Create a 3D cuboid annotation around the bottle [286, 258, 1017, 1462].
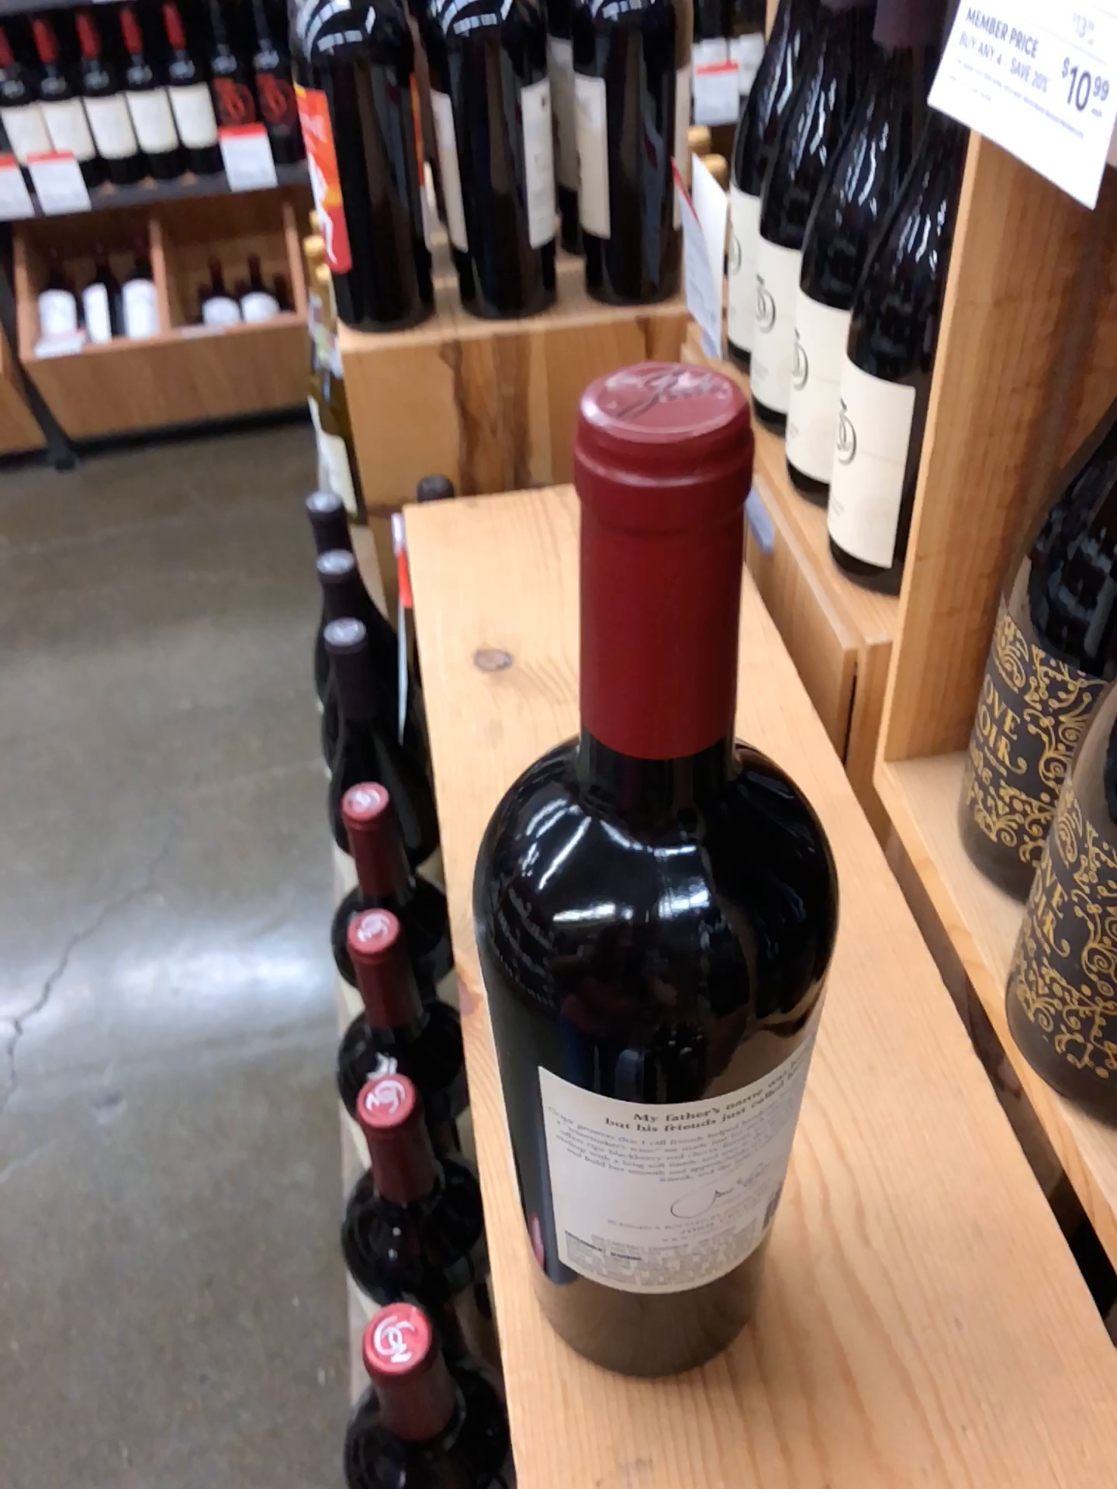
[{"bbox_3d":[0.022,0.055,0.291,0.080,0.294,0.081,-3,42,2],"label":"bottle"}]
